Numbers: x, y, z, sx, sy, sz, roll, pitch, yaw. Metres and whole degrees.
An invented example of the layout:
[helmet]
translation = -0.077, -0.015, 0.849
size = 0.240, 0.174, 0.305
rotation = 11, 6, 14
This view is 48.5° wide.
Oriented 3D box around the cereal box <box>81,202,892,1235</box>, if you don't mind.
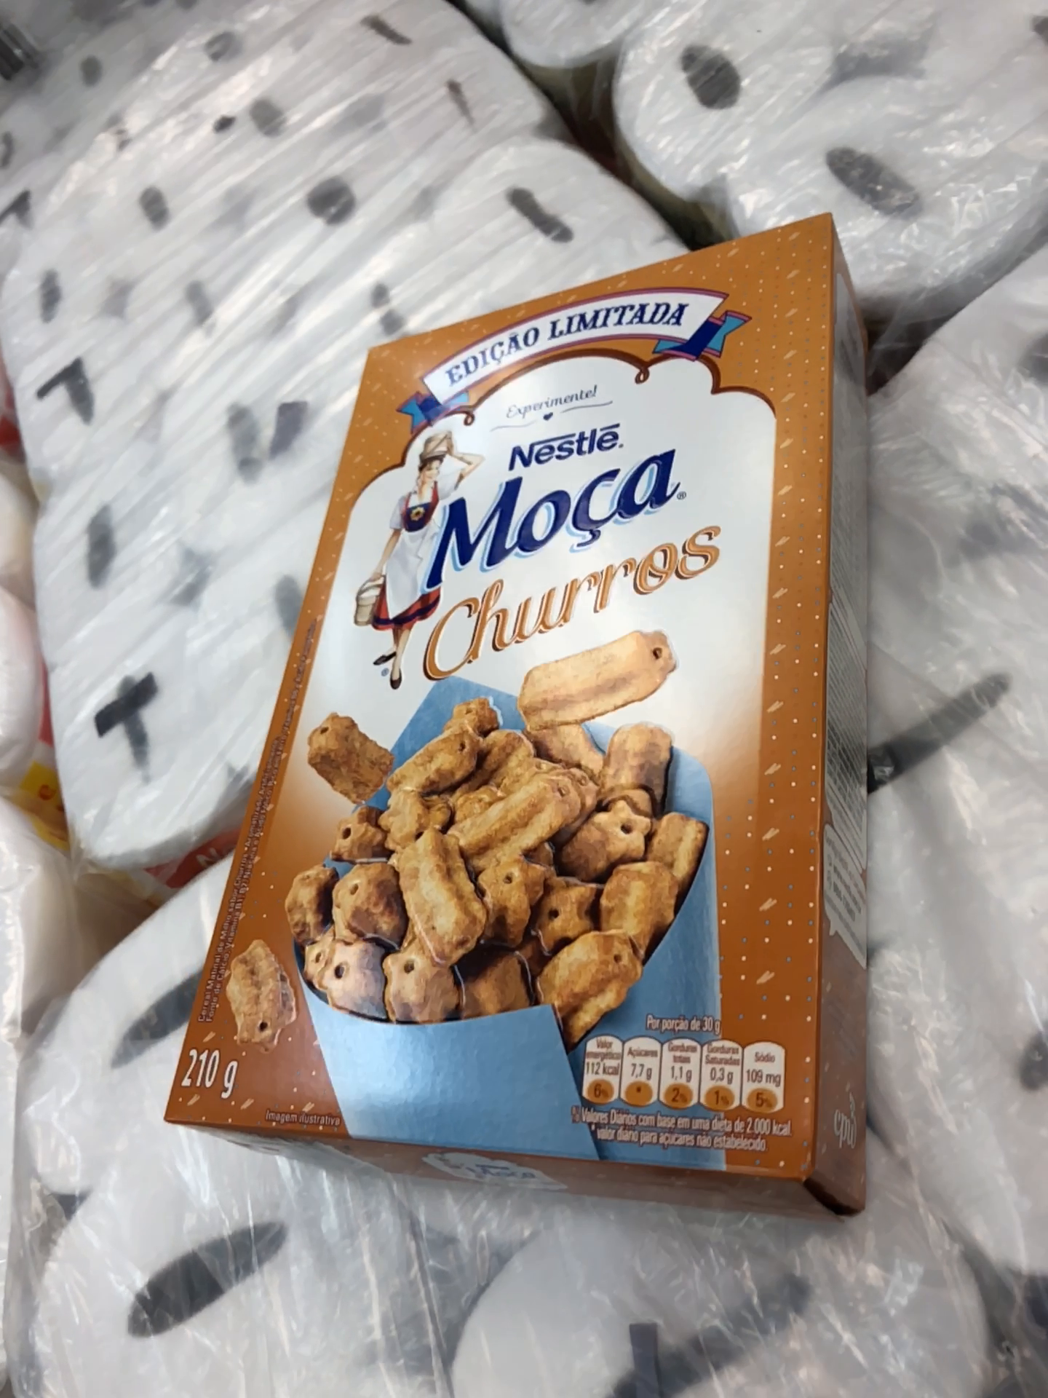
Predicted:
[cereal box]
translation = 0.002, -0.004, 0.303
size = 0.171, 0.050, 0.241
rotation = -7, 58, 27
